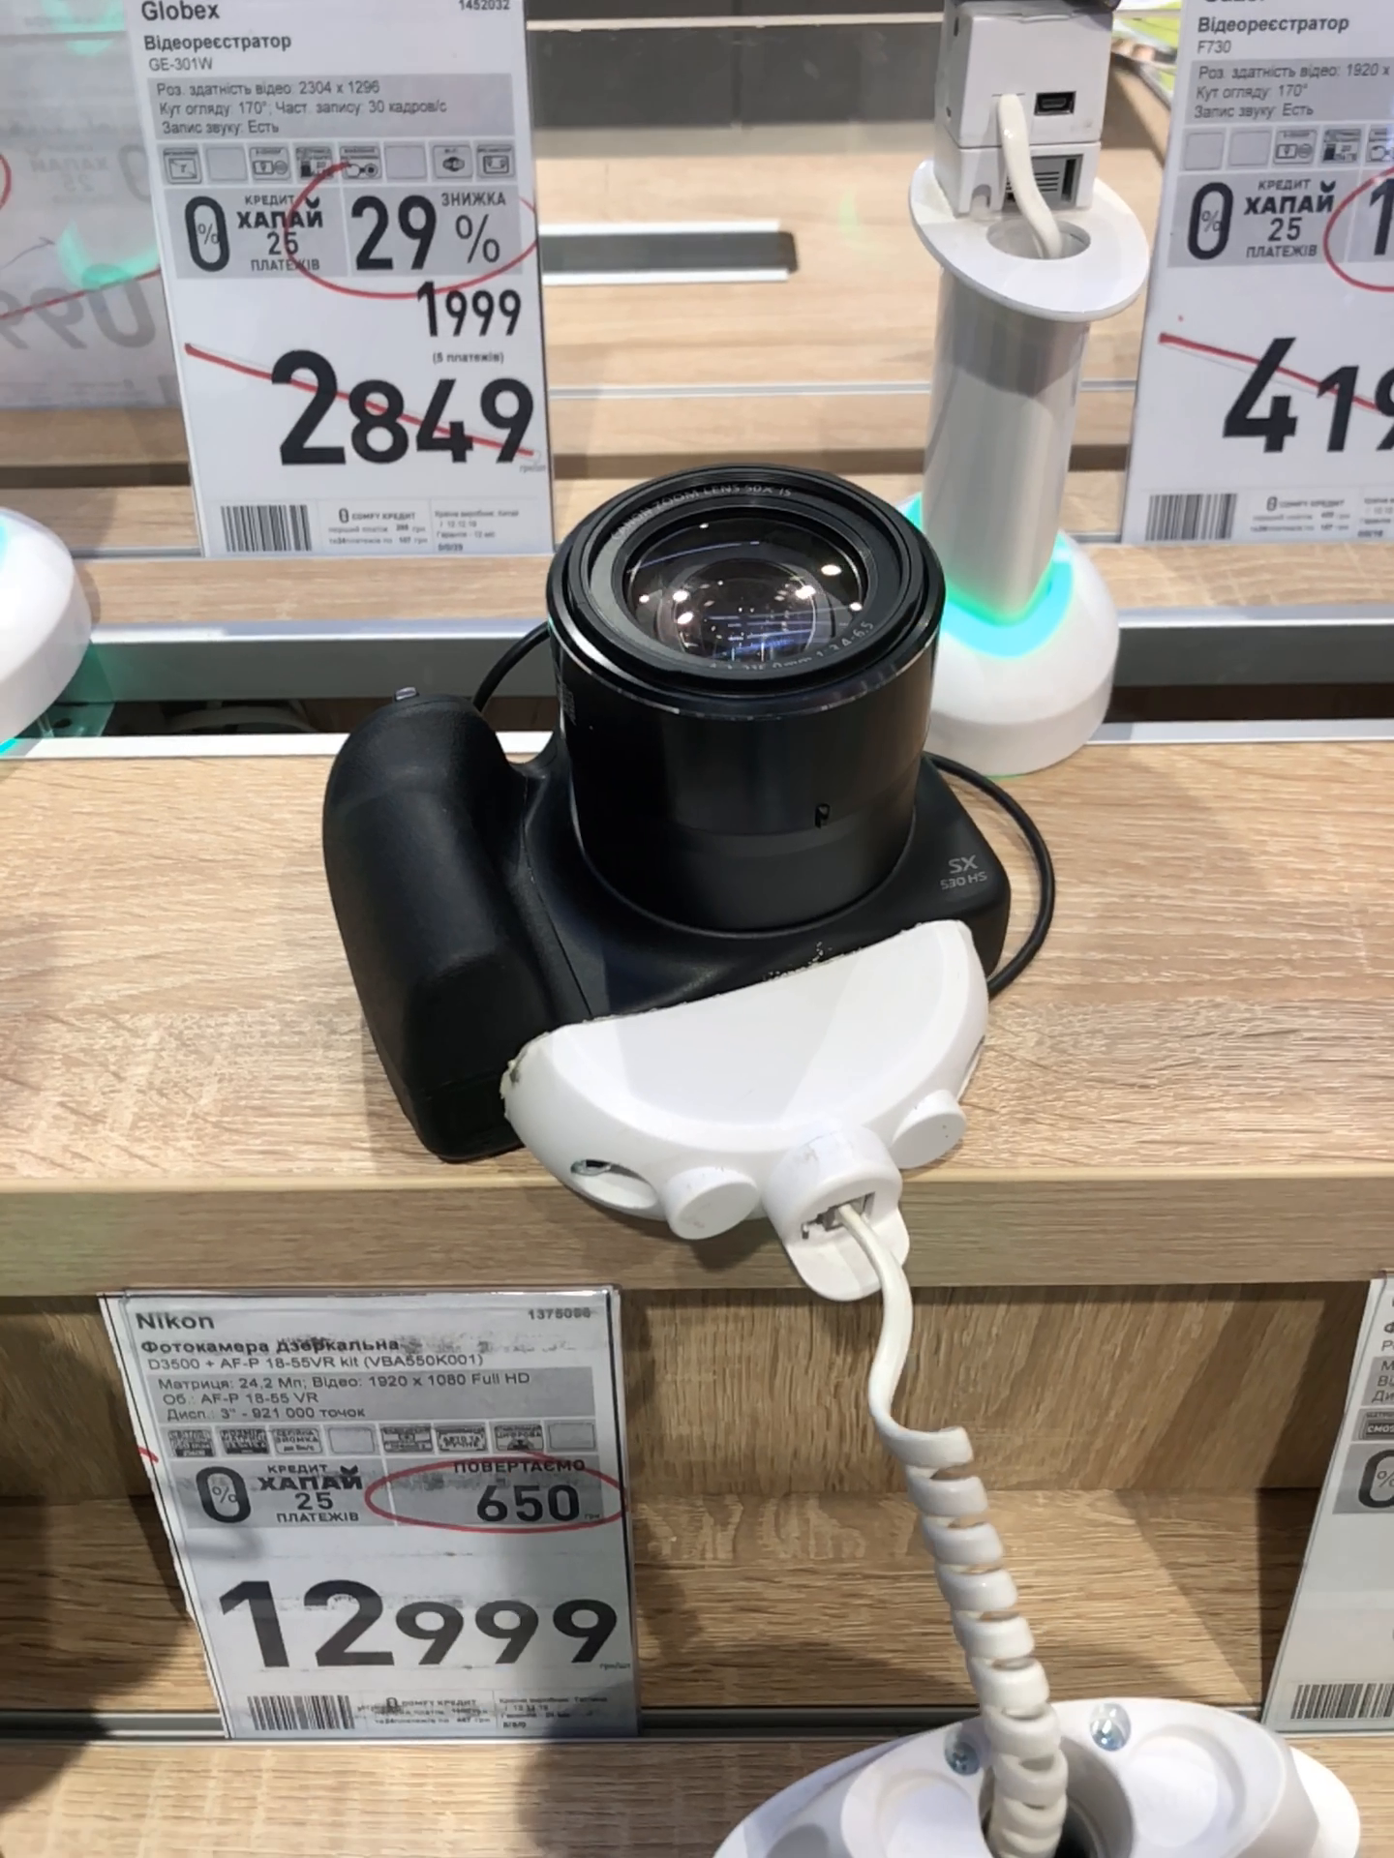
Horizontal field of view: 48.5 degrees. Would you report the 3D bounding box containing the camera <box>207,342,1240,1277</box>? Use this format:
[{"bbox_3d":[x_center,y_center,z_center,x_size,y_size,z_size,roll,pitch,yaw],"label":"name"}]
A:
[{"bbox_3d":[-0.002,-0.026,0.280,0.133,0.090,0.107,-16,53,-15],"label":"camera"}]
